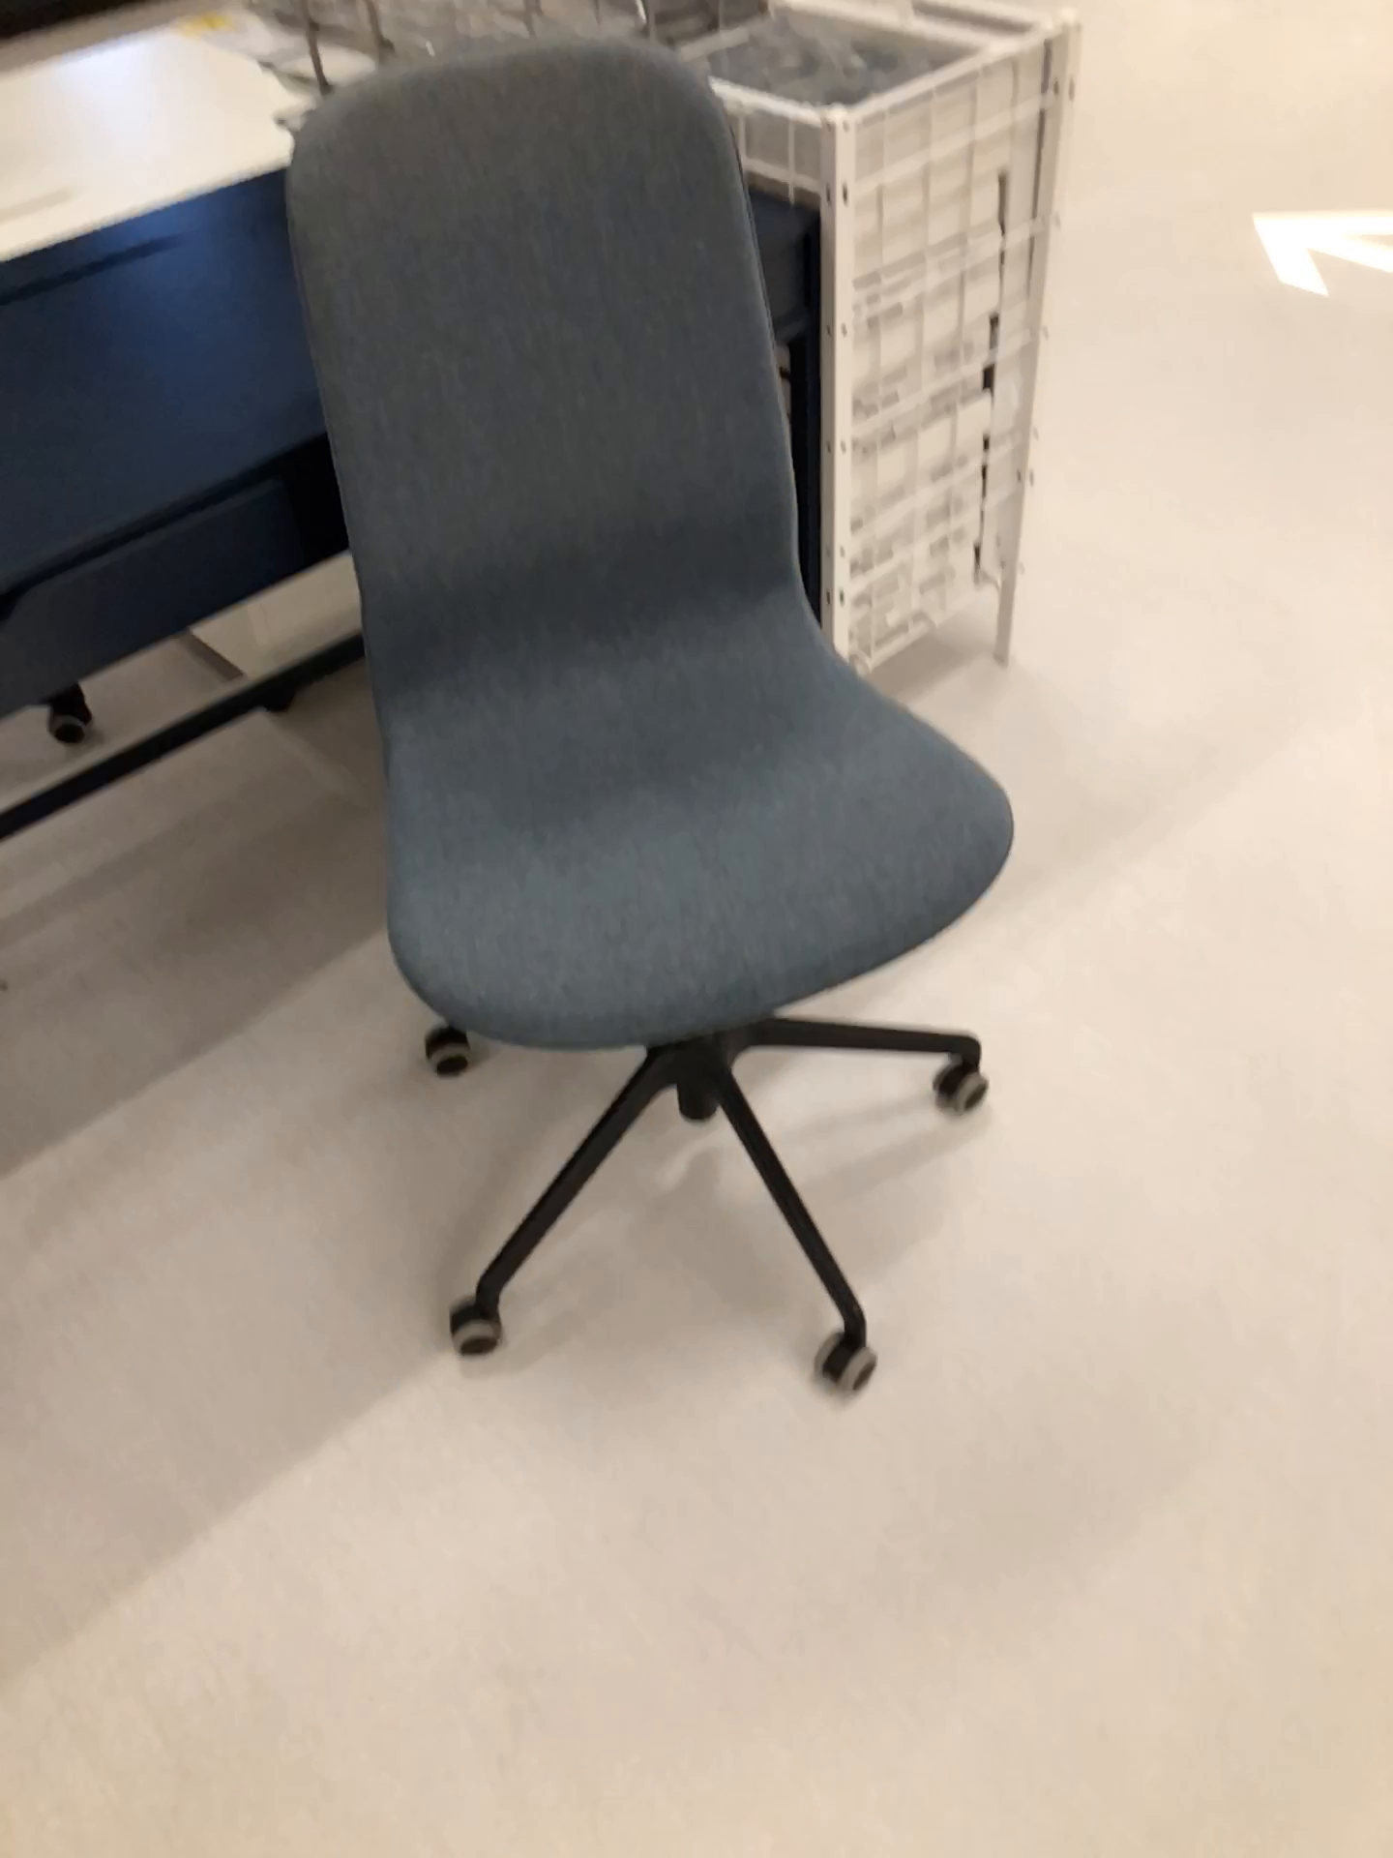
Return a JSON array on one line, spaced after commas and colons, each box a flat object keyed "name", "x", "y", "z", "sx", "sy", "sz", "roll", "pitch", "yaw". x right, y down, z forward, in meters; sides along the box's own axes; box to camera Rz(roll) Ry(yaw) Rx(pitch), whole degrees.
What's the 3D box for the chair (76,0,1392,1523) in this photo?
[{"name": "chair", "x": -0.014, "y": -0.130, "z": 1.274, "sx": 0.640, "sy": 0.934, "sz": 0.684, "roll": -16, "pitch": 46, "yaw": -11}]
